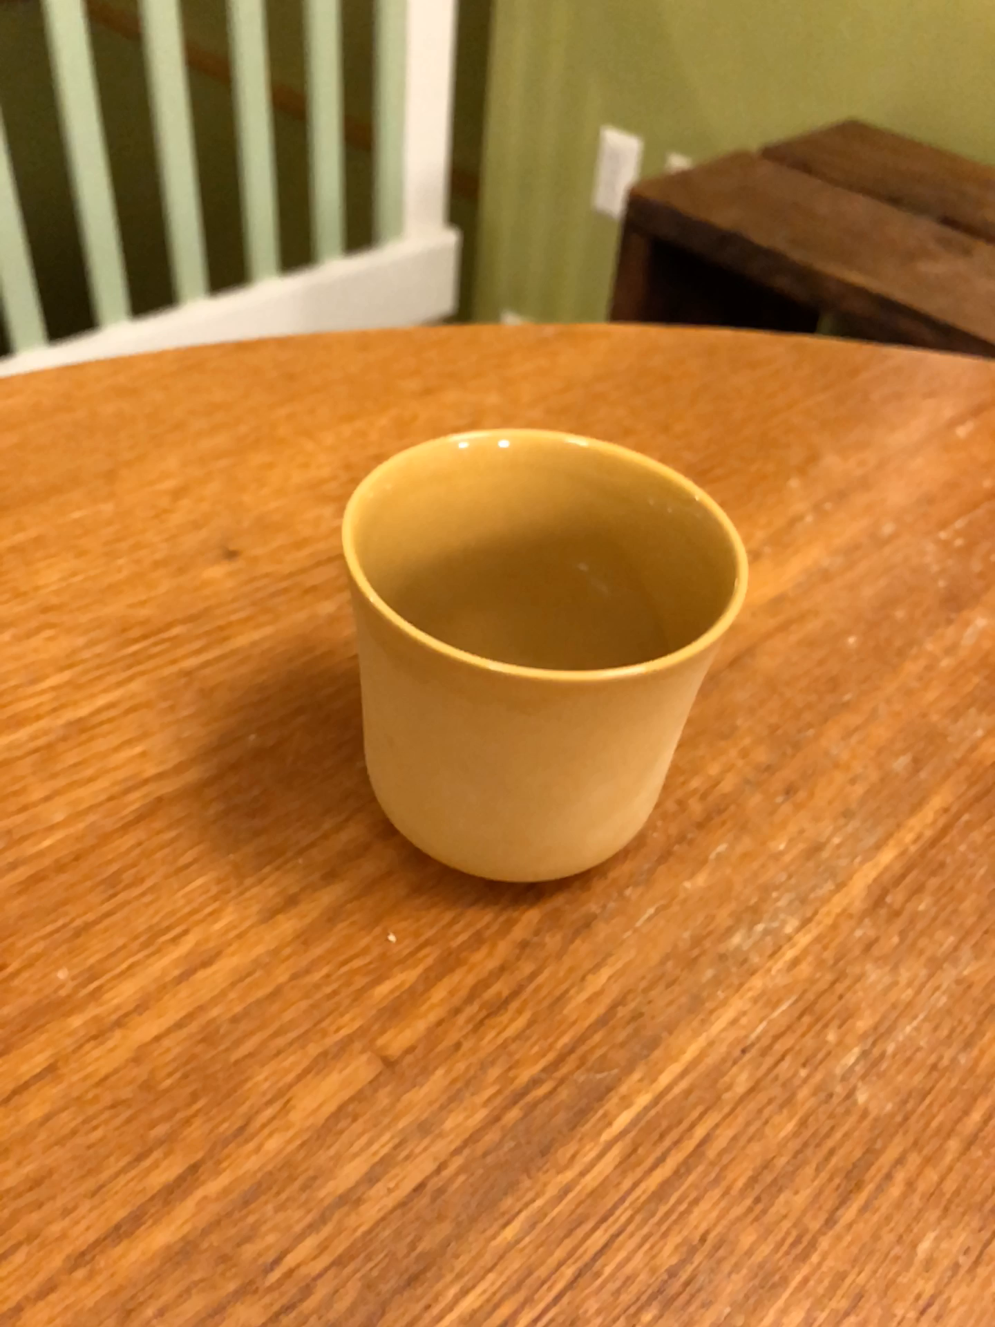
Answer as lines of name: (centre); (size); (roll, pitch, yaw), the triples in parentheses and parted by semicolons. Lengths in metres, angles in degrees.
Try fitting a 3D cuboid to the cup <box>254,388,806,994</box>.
cup: (0.006, 0.002, 0.231); (0.077, 0.073, 0.074); (3, 42, -3)
